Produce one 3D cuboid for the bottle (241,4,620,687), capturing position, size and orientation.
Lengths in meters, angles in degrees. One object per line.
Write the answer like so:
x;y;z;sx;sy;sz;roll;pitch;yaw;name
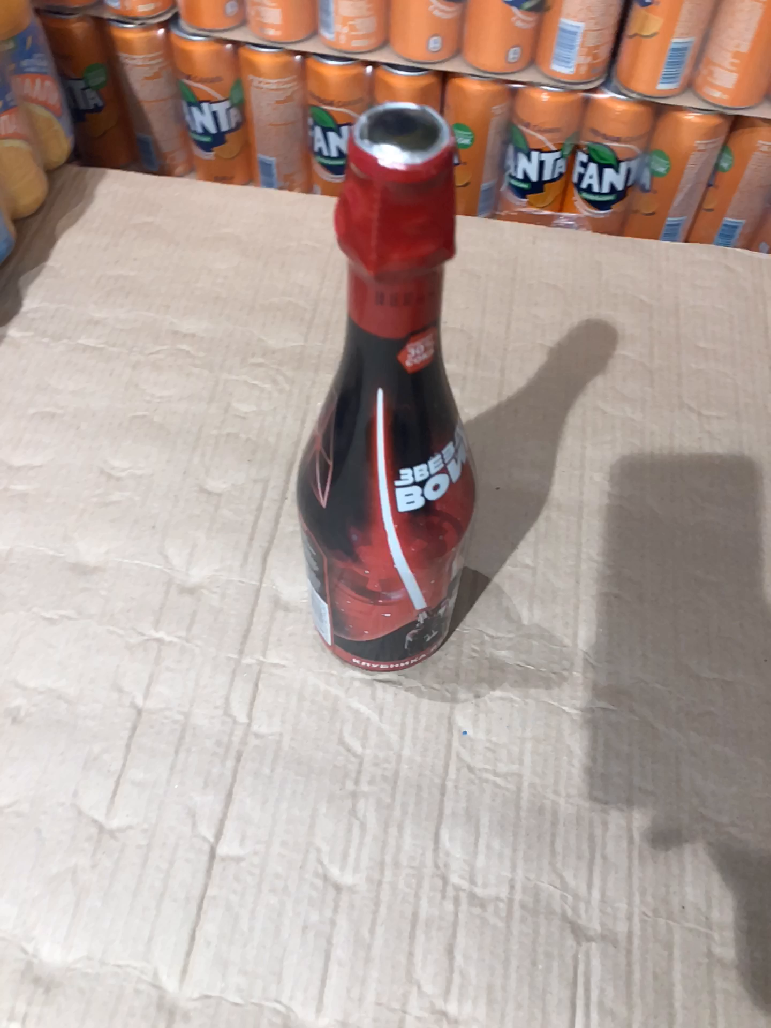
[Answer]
0.011;-0.028;0.332;0.085;0.279;0.086;1;59;-2;bottle
